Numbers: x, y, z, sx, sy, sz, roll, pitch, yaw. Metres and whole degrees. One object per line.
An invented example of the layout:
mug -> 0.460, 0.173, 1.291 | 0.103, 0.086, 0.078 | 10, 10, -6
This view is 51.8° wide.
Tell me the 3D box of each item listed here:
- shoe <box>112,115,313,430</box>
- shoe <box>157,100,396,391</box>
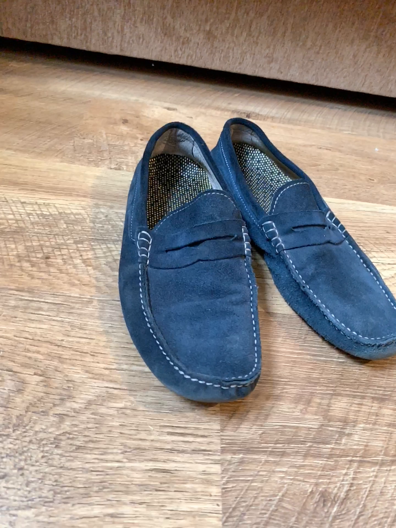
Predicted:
shoe -> -0.015, -0.022, 0.325 | 0.100, 0.070, 0.271 | -1, 45, -12
shoe -> 0.070, -0.048, 0.363 | 0.110, 0.070, 0.291 | -13, 48, -23
